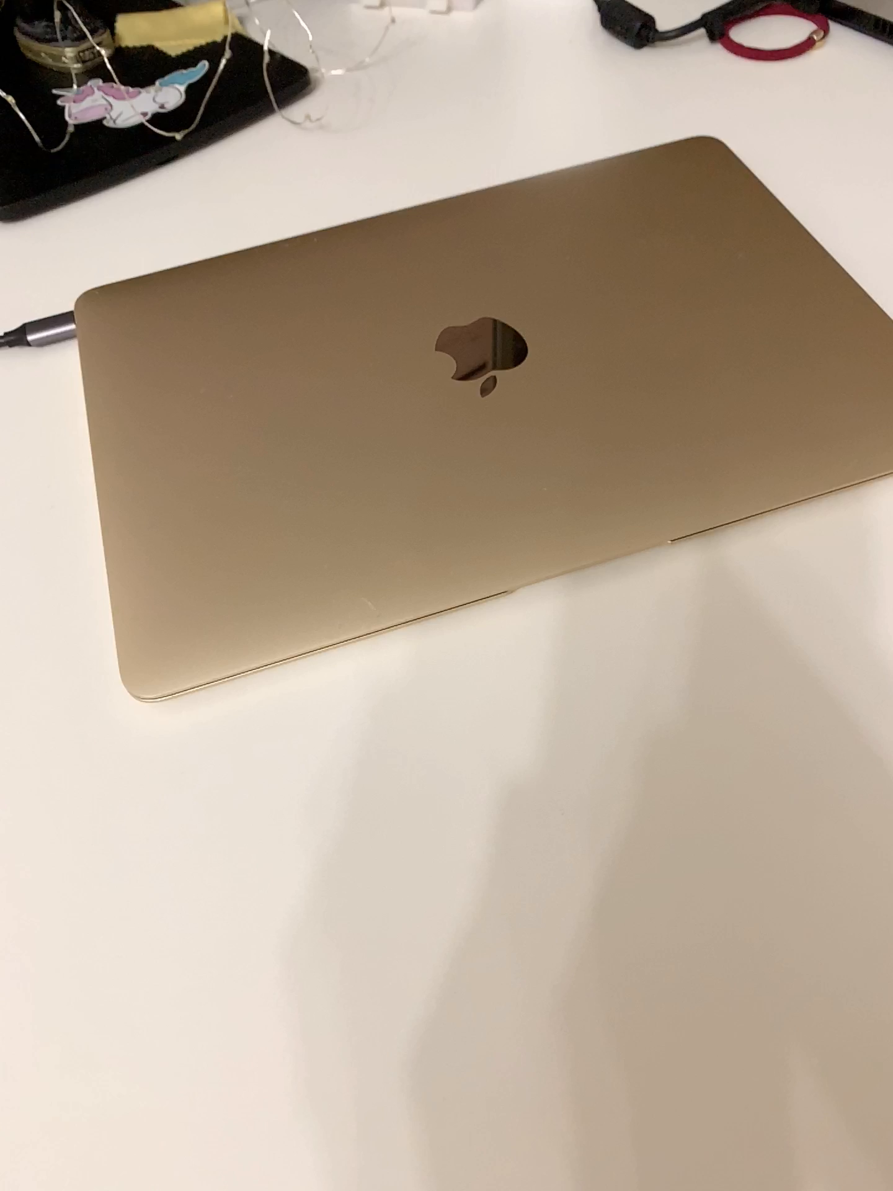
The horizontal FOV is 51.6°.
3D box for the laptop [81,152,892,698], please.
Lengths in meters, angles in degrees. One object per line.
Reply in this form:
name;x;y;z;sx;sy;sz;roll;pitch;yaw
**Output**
laptop;0.012;-0.078;0.325;0.255;0.013;0.174;-17;57;-9
